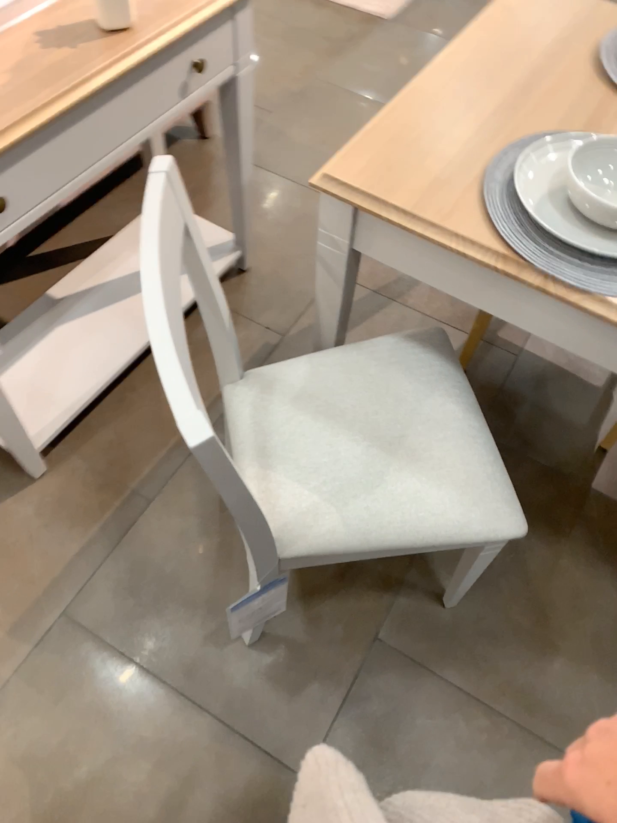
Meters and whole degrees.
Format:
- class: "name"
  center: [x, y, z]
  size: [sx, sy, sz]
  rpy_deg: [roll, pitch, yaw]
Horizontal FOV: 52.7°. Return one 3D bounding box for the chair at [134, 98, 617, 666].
- class: "chair"
  center: [0.060, 0.039, 1.008]
  size: [0.507, 0.834, 0.464]
  rpy_deg: [-7, 58, -8]
